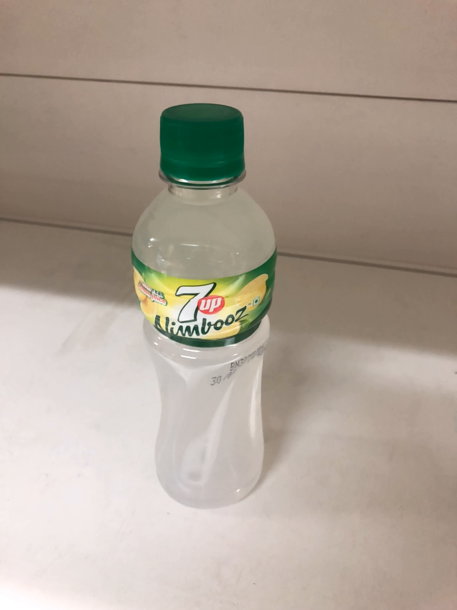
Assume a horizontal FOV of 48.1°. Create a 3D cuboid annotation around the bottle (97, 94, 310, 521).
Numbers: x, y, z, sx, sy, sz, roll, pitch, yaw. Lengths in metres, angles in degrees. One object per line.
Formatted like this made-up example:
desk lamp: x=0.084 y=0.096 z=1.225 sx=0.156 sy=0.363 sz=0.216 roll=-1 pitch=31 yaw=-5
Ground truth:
bottle: x=-0.009 y=0.012 z=0.245 sx=0.070 sy=0.199 sz=0.060 roll=2 pitch=31 yaw=2
